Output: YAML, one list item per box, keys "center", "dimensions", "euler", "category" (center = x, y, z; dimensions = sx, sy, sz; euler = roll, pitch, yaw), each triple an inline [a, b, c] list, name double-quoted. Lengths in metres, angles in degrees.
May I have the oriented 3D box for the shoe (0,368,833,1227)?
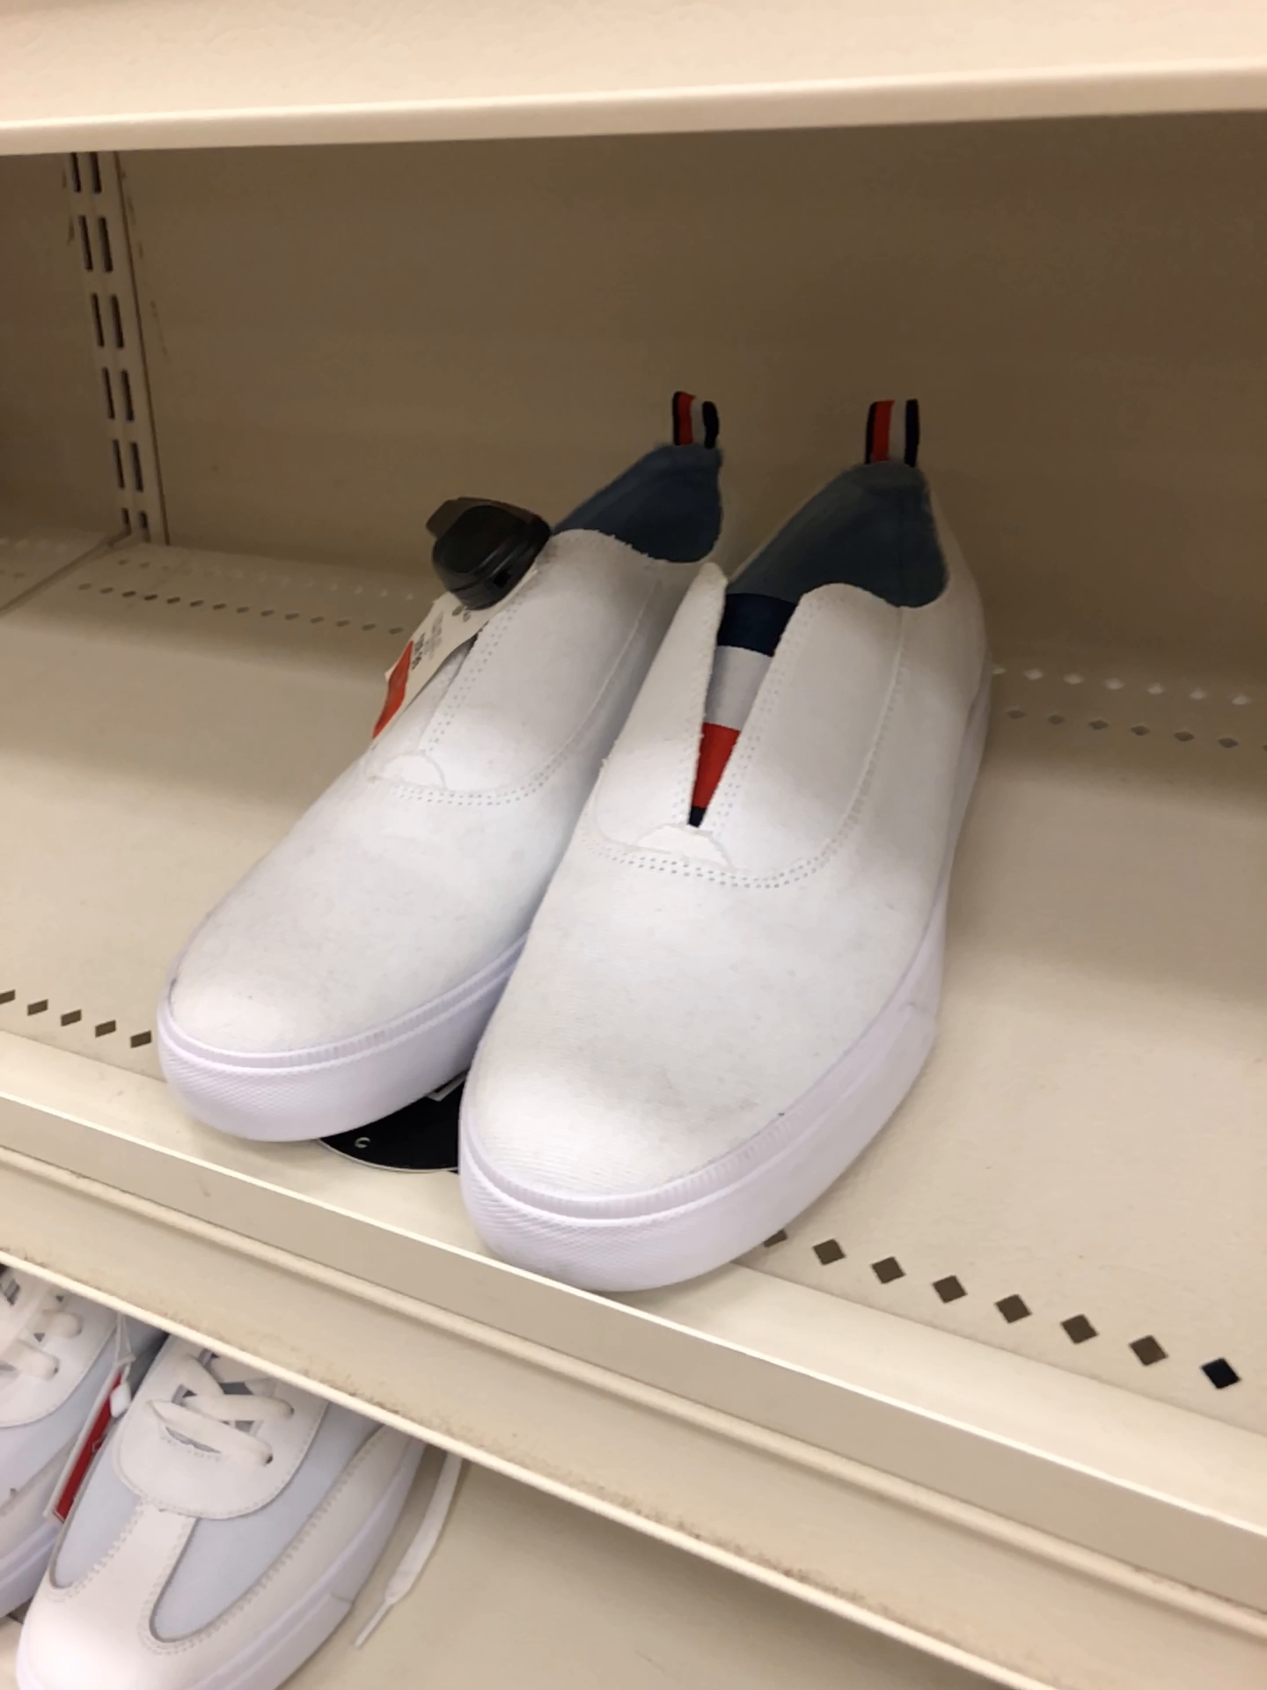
- center: [-0.044, -0.045, 0.390]
  dimensions: [0.100, 0.089, 0.292]
  euler: [11, 37, 25]
  category: "shoe"

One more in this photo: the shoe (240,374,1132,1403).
- center: [0.046, -0.026, 0.373]
  dimensions: [0.100, 0.109, 0.302]
  euler: [11, 37, 25]
  category: "shoe"
